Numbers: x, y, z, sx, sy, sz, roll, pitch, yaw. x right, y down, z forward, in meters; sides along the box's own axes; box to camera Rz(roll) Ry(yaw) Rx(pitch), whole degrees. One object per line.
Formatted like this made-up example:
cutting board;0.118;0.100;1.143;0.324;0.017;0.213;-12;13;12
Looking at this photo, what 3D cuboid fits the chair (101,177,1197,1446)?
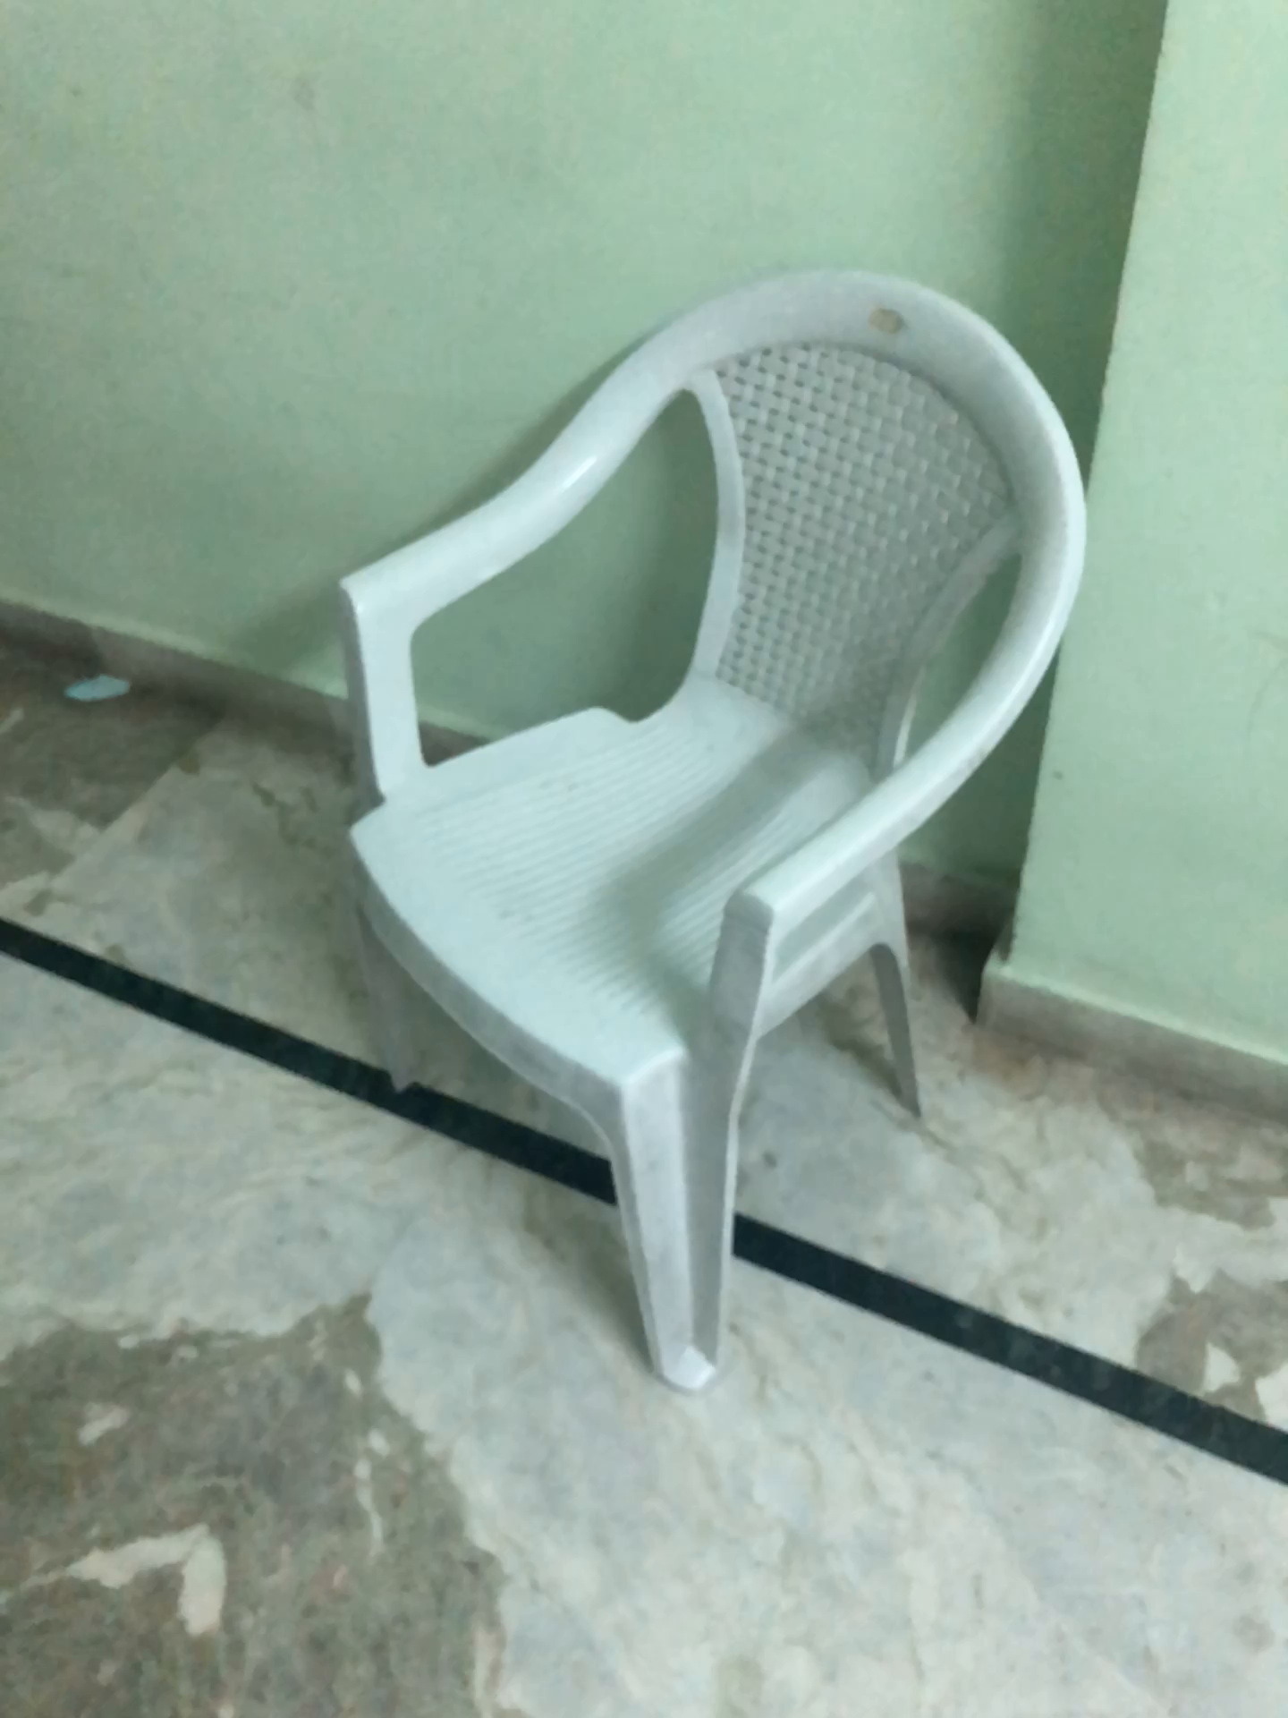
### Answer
chair;0.013;-0.030;1.258;0.531;0.825;0.532;-31;50;-24
